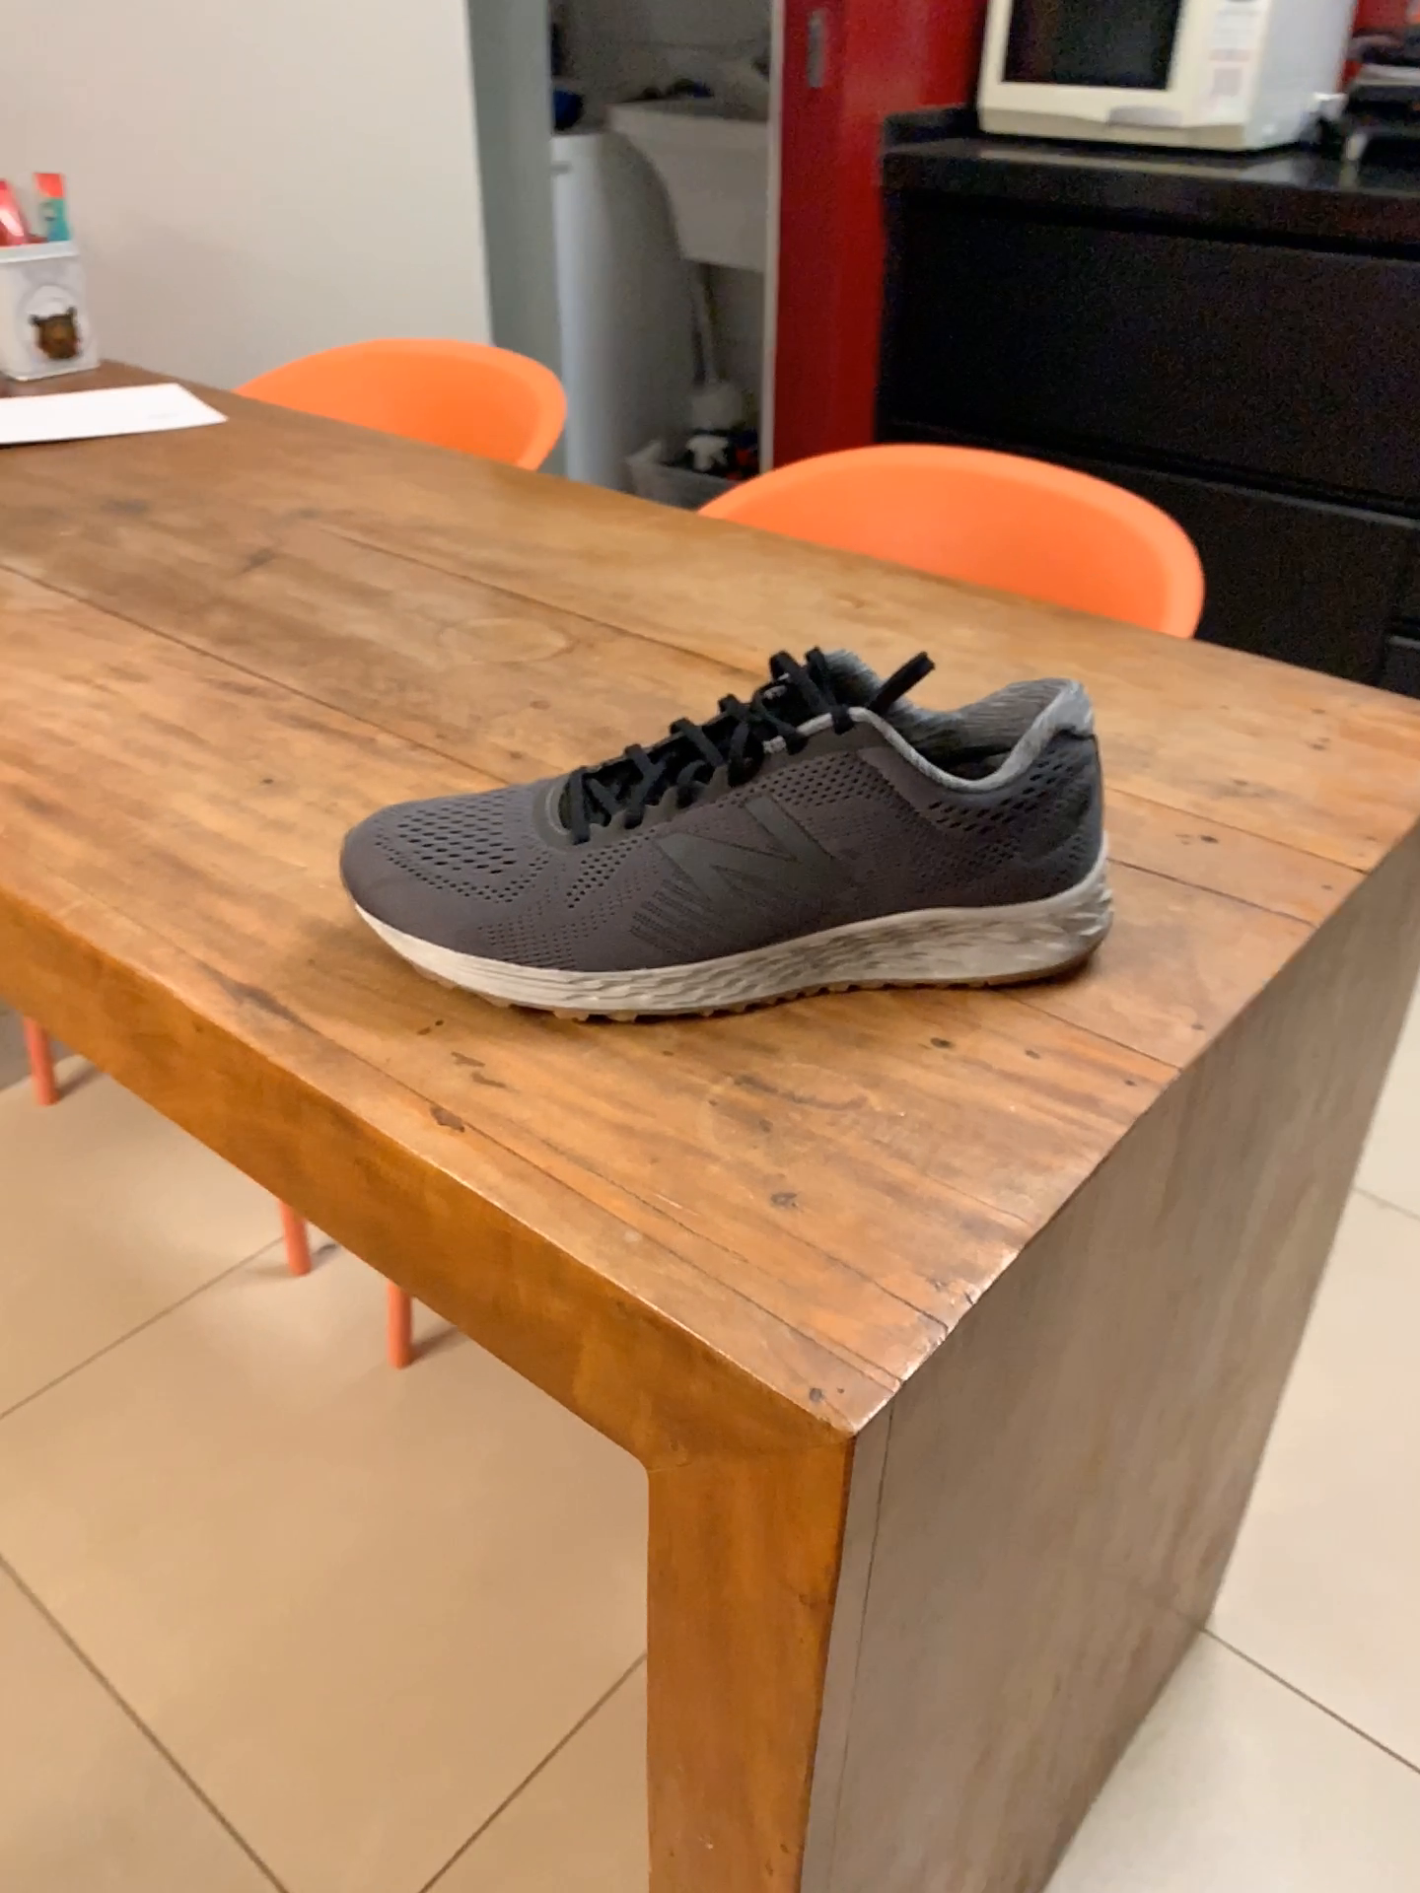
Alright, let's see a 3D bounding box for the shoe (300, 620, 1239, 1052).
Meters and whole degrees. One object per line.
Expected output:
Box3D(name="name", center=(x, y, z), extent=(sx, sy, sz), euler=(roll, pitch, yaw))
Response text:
Box3D(name="shoe", center=(0.018, -0.045, 0.540), extent=(0.300, 0.109, 0.111), euler=(-2, 33, -4))
